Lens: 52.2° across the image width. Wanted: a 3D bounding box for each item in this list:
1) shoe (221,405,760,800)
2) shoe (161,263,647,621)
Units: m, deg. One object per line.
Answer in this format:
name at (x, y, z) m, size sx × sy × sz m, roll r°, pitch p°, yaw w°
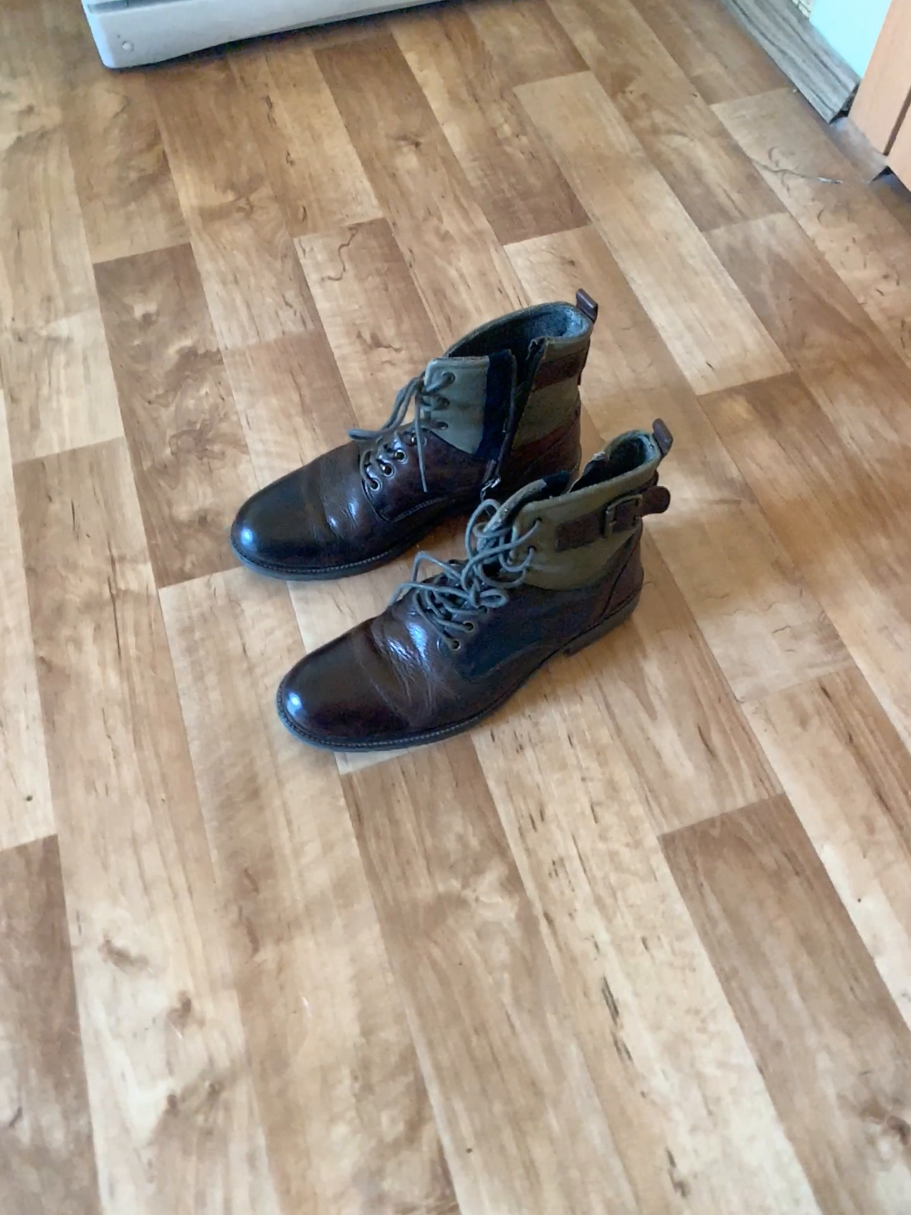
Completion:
shoe at (0.023, -0.001, 0.631) m, size 0.310 × 0.150 × 0.110 m, roll -21°, pitch 63°, yaw -10°
shoe at (-0.034, -0.121, 0.693) m, size 0.310 × 0.150 × 0.110 m, roll -19°, pitch 62°, yaw -9°
